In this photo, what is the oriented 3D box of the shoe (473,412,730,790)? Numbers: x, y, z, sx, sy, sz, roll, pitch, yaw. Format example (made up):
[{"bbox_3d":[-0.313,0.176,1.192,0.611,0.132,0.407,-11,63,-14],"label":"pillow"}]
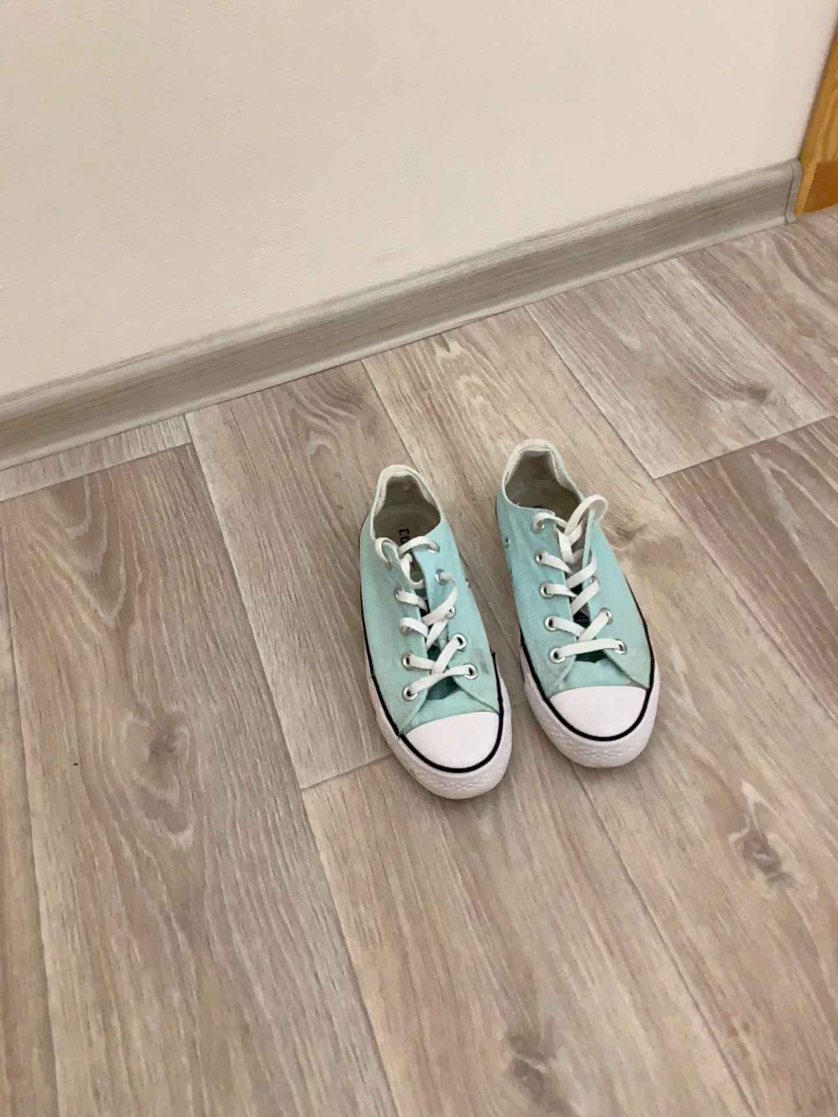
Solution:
[{"bbox_3d":[0.109,0.017,0.576,0.100,0.060,0.251,-9,53,-1],"label":"shoe"}]

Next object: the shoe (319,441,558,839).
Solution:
[{"bbox_3d":[0.004,0.040,0.559,0.092,0.060,0.251,-13,53,-4],"label":"shoe"}]
